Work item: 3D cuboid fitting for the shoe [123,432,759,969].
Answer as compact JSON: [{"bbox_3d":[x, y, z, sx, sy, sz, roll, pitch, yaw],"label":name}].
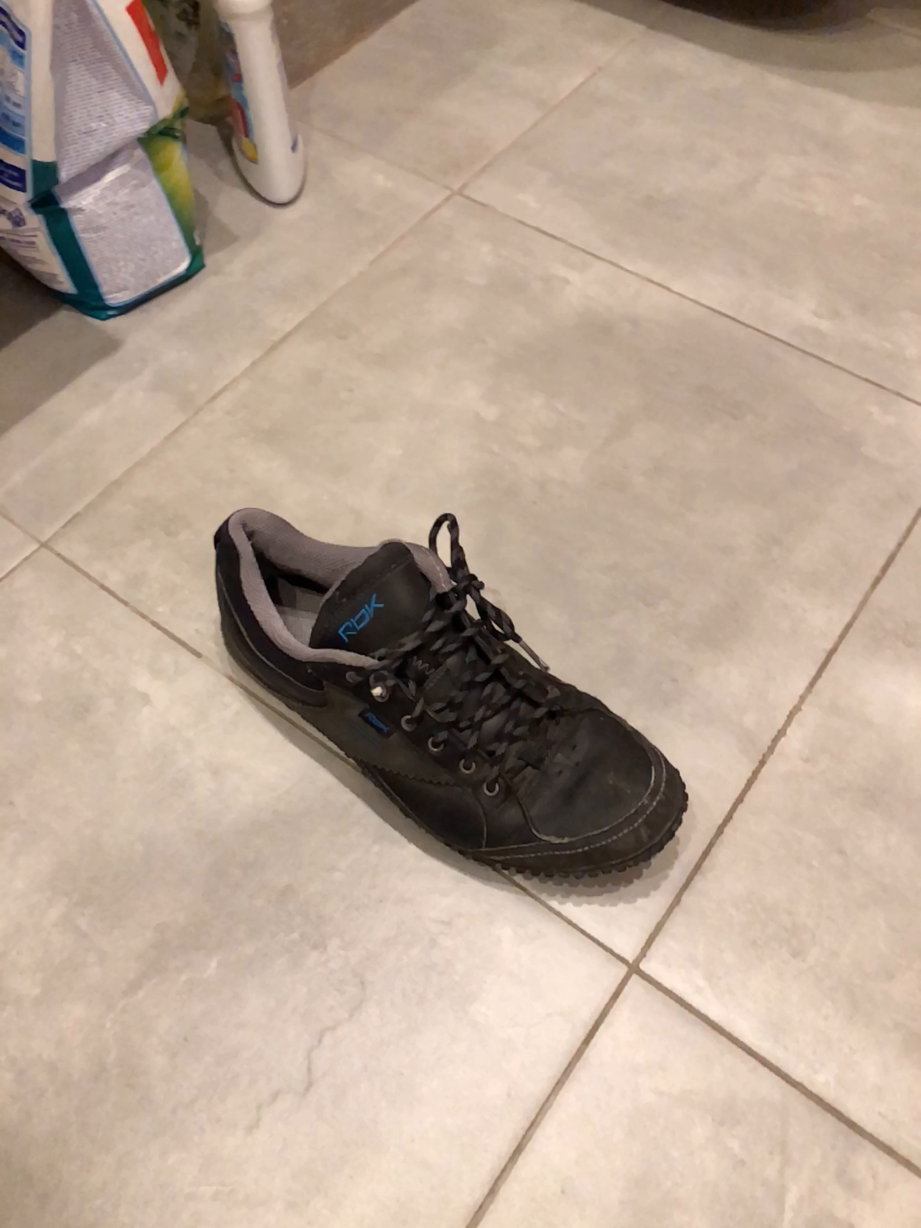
[{"bbox_3d":[-0.014,0.037,0.489,0.270,0.109,0.100,30,63,18],"label":"shoe"}]
